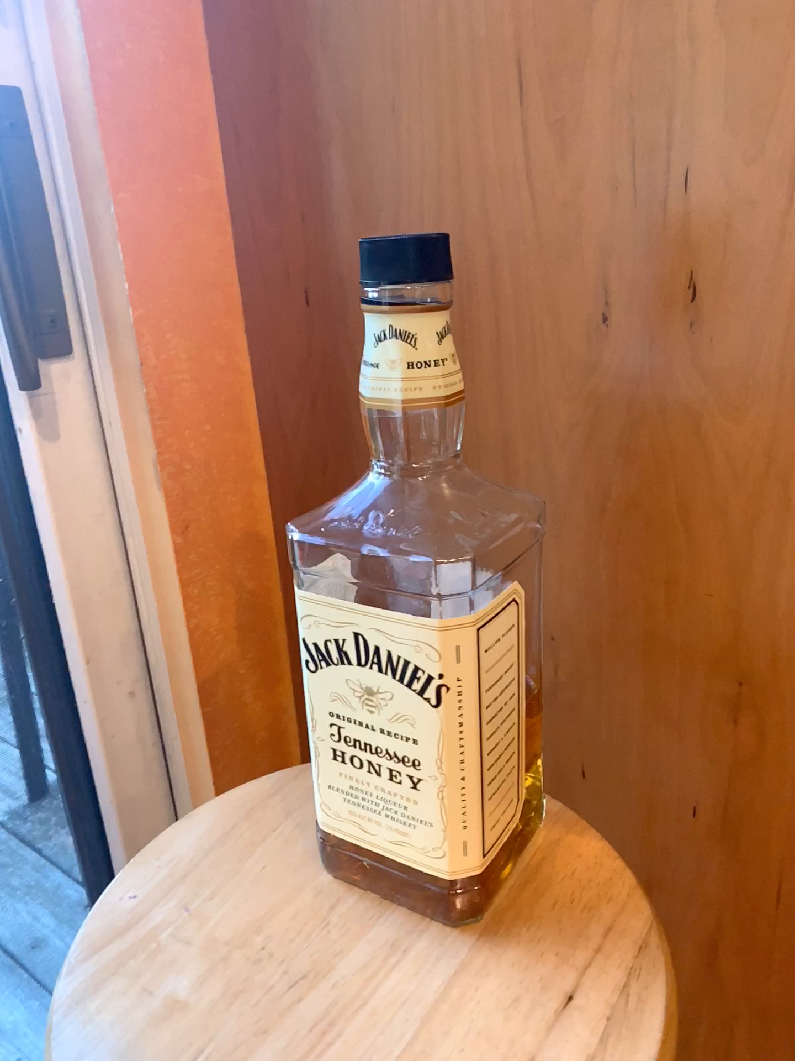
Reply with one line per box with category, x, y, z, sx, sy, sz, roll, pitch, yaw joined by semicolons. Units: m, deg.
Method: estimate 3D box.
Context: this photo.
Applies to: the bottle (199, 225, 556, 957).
bottle;0.004;0.027;0.411;0.120;0.329;0.100;8;23;31
